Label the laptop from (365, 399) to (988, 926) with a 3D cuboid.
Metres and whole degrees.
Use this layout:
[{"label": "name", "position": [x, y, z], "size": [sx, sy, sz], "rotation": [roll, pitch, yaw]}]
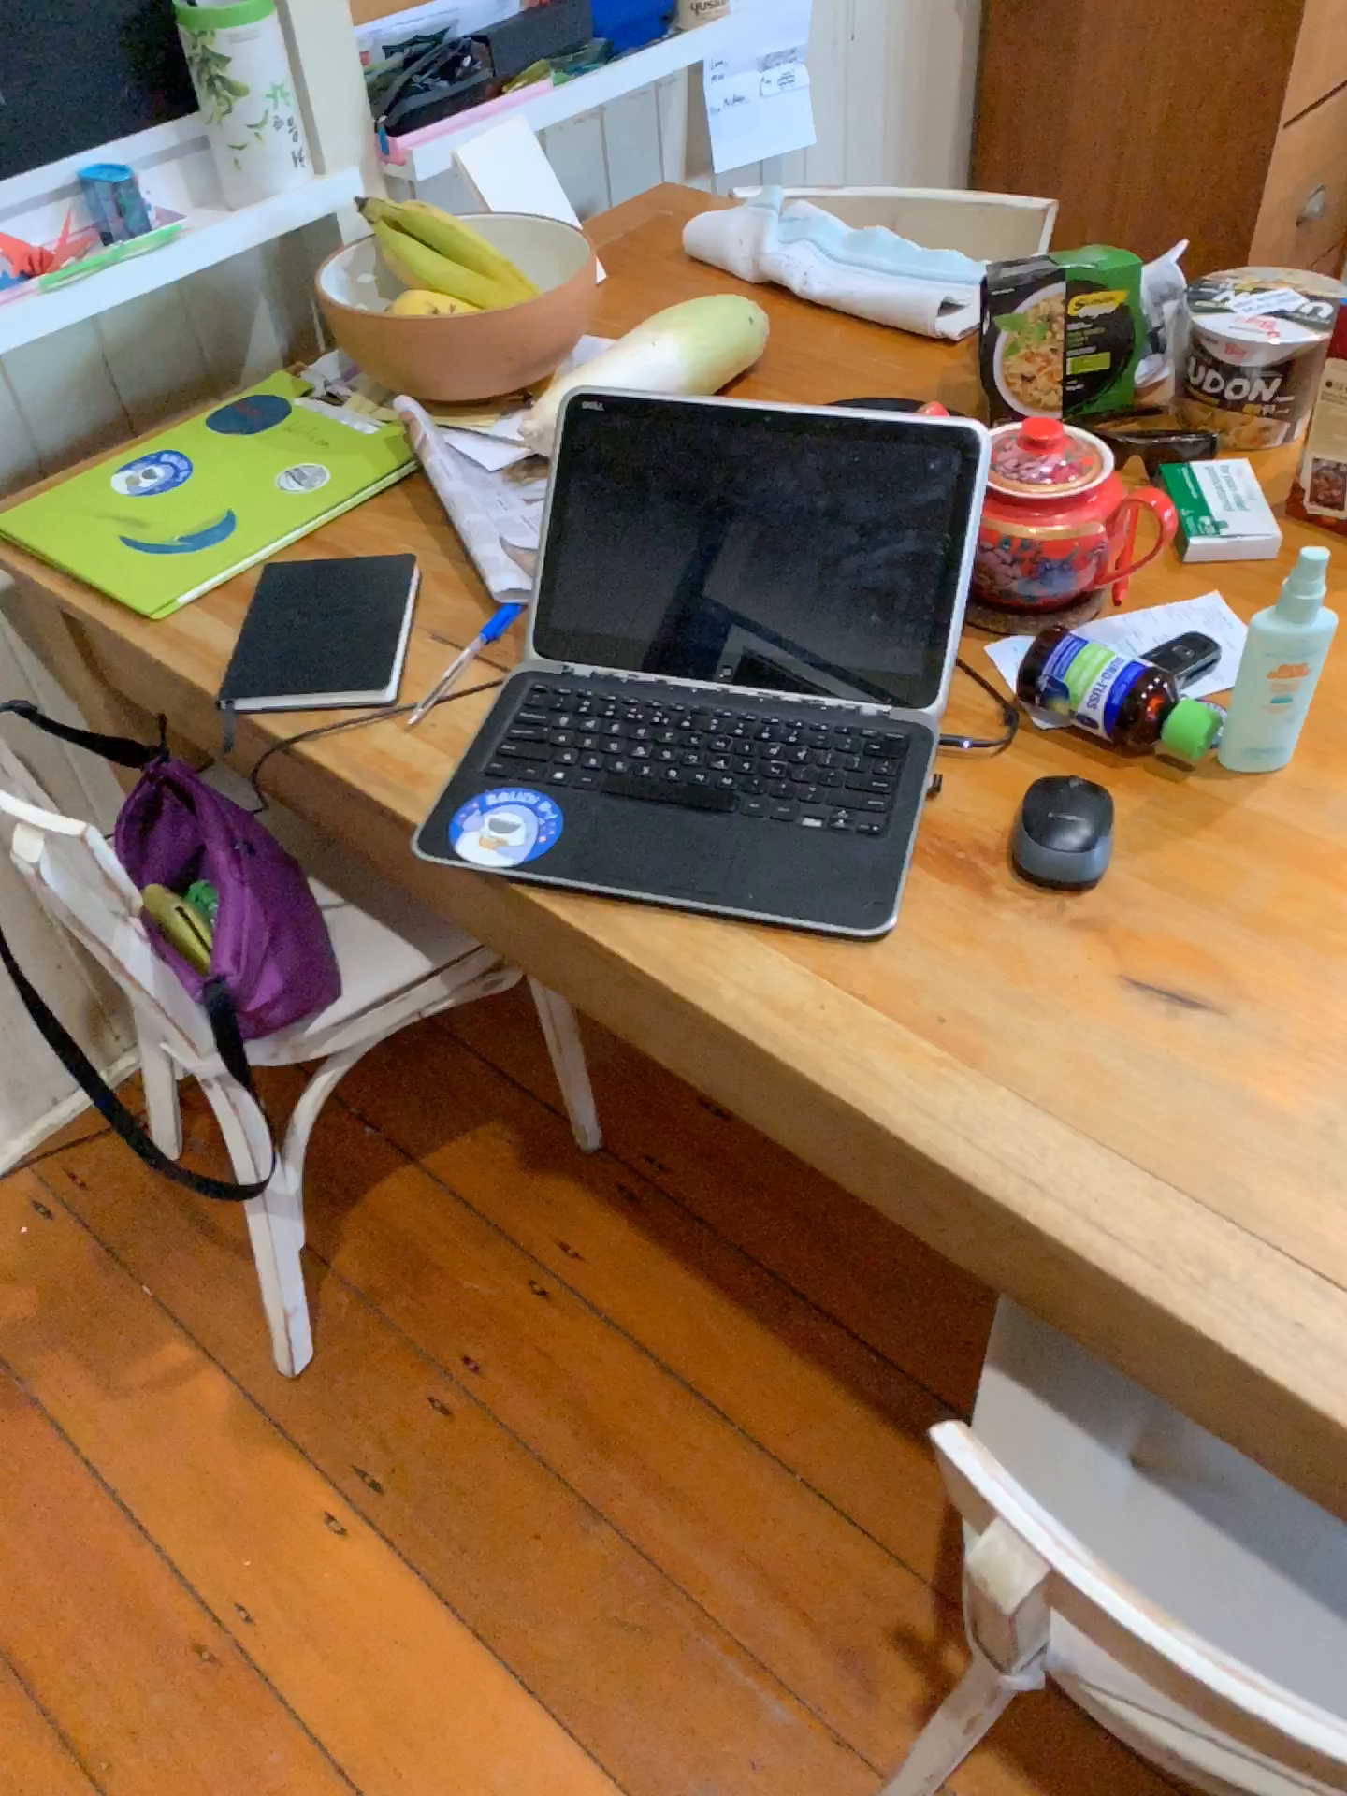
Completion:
[{"label": "laptop", "position": [0.024, -0.173, 0.902], "size": [0.303, 0.139, 0.340], "rotation": [9, 48, 13]}]
